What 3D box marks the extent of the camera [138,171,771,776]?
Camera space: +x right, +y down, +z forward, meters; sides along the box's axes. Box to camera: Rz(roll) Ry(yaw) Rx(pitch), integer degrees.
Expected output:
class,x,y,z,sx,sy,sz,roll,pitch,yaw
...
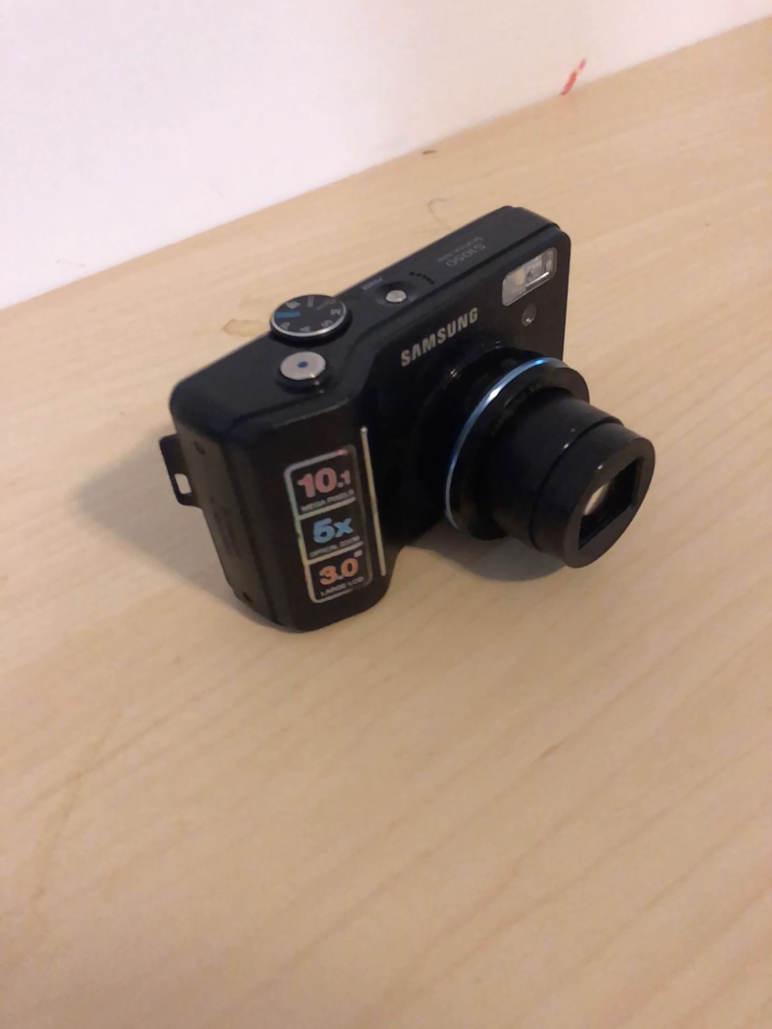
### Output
class,x,y,z,sx,sy,sz,roll,pitch,yaw
camera,0.018,-0.016,0.198,0.110,0.070,0.070,-35,53,-25
